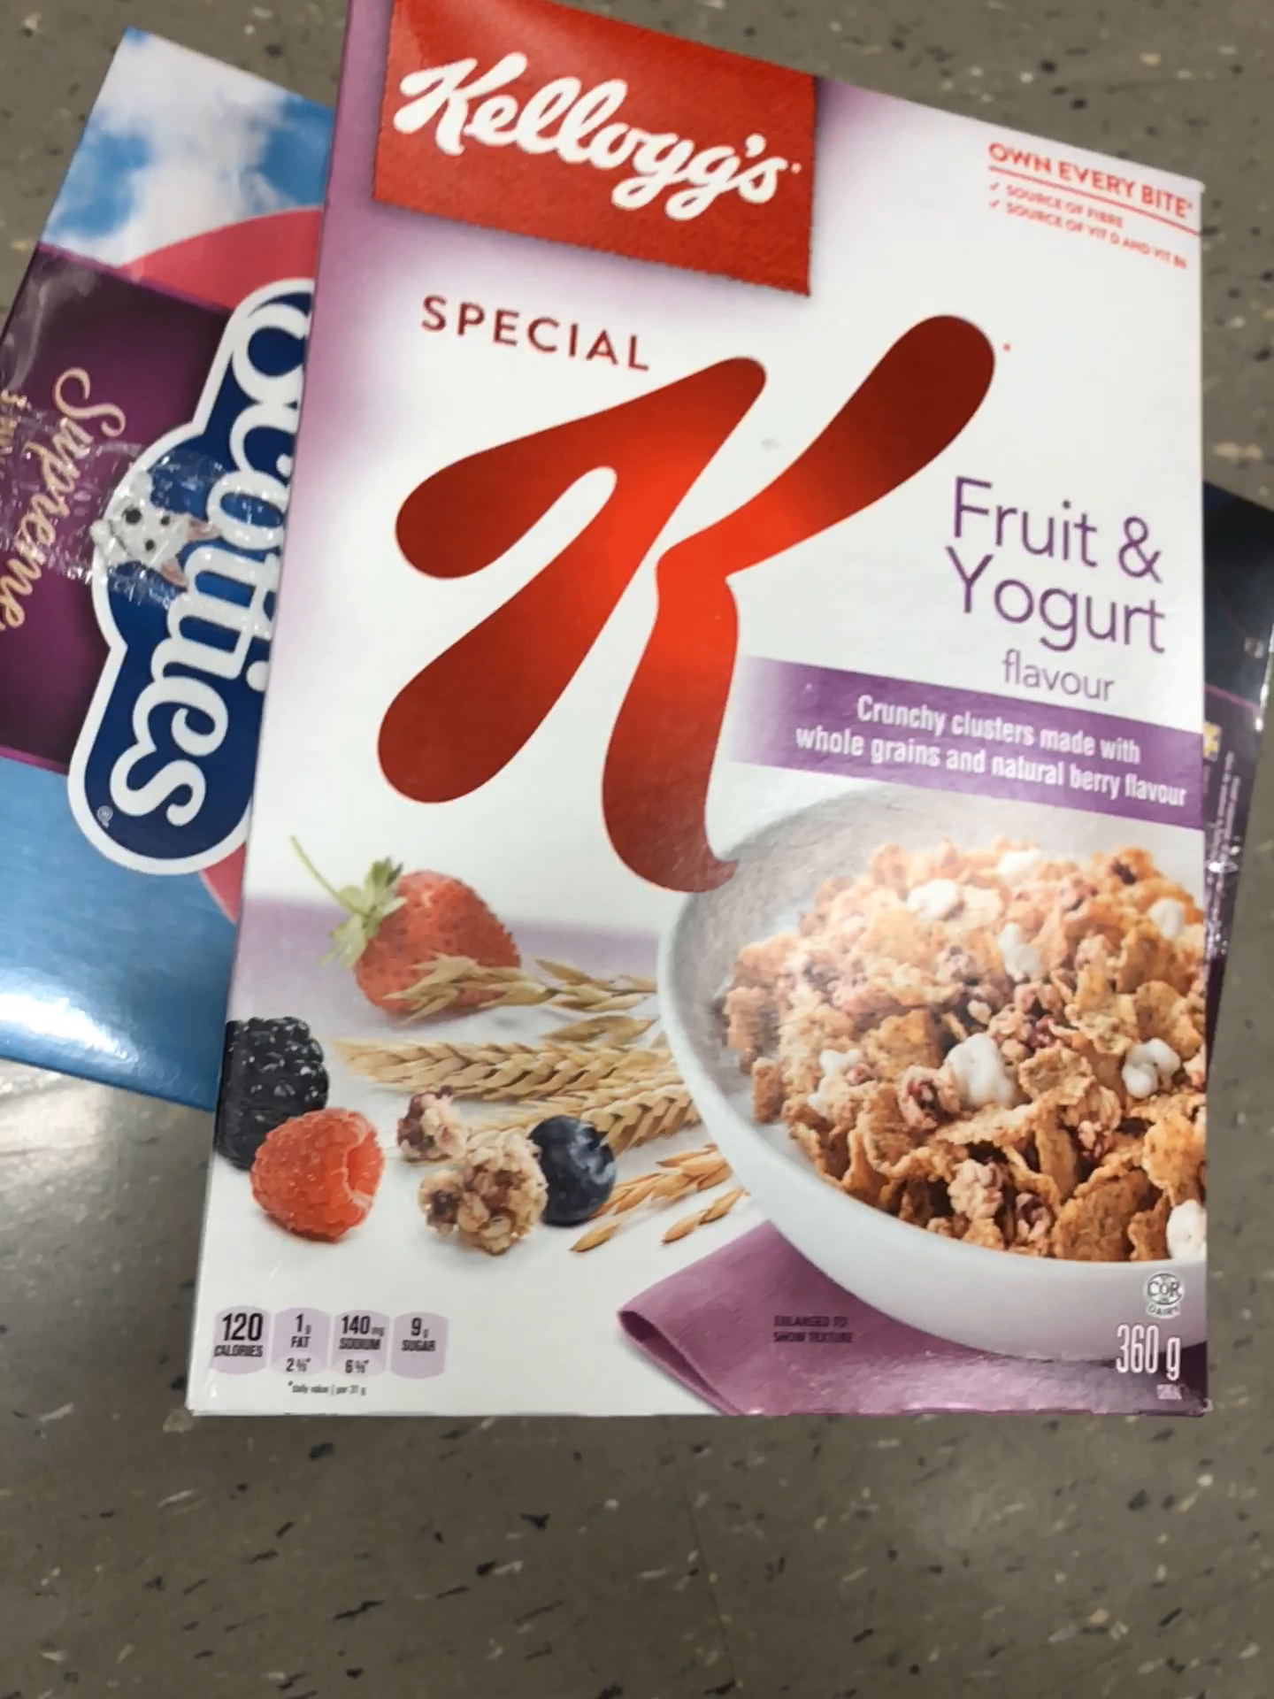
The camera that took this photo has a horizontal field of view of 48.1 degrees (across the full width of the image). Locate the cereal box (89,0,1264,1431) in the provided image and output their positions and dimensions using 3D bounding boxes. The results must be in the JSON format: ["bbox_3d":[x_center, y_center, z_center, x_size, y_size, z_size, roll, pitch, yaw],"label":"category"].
[{"bbox_3d":[0.019,-0.033,0.297,0.210,0.050,0.280,7,77,-16],"label":"cereal box"}]
